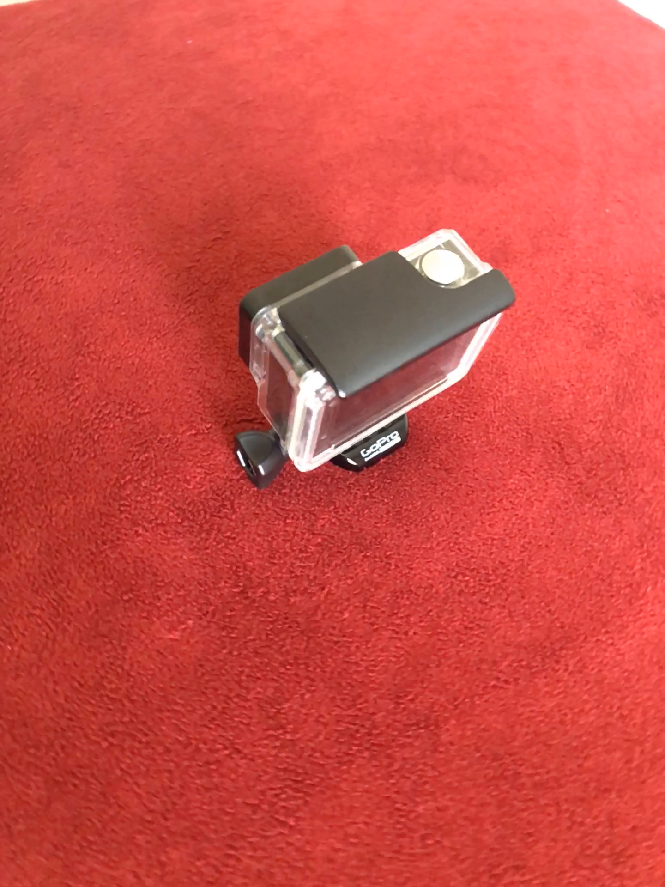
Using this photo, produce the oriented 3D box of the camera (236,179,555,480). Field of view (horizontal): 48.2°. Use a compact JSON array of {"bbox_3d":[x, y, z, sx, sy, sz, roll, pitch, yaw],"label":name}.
[{"bbox_3d":[0.015,-0.032,0.213,0.072,0.050,0.040,-29,72,-22],"label":"camera"}]
